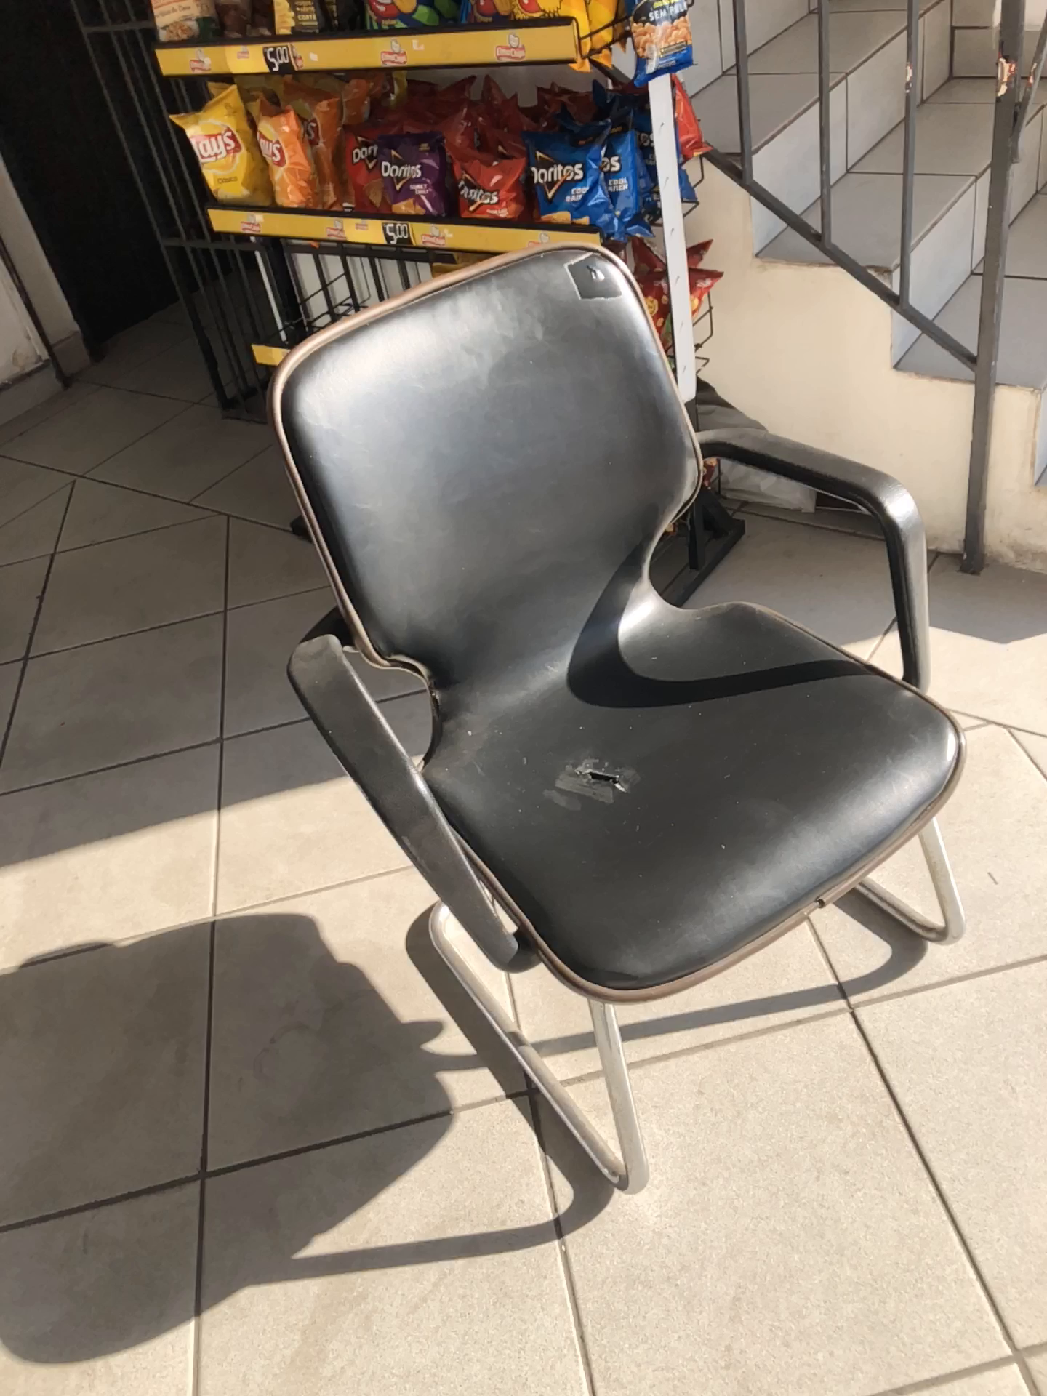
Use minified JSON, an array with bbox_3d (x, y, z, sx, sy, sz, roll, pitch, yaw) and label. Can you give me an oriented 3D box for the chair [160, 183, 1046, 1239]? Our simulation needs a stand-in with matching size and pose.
[{"bbox_3d":[0.115,-0.007,1.269,0.581,0.824,0.583,-30,42,-20],"label":"chair"}]
